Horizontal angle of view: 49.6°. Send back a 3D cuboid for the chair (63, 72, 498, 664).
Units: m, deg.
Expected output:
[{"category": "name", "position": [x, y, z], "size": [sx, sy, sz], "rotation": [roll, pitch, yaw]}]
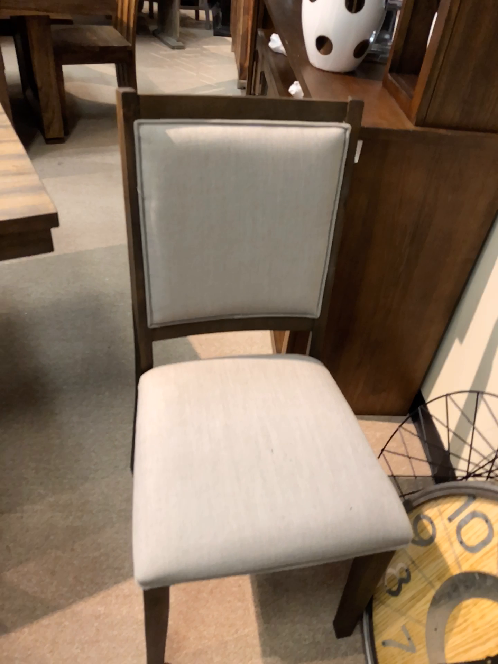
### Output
[{"category": "chair", "position": [-0.016, 0.122, 0.943], "size": [0.460, 0.924, 0.493], "rotation": [-4, 41, -13]}]
